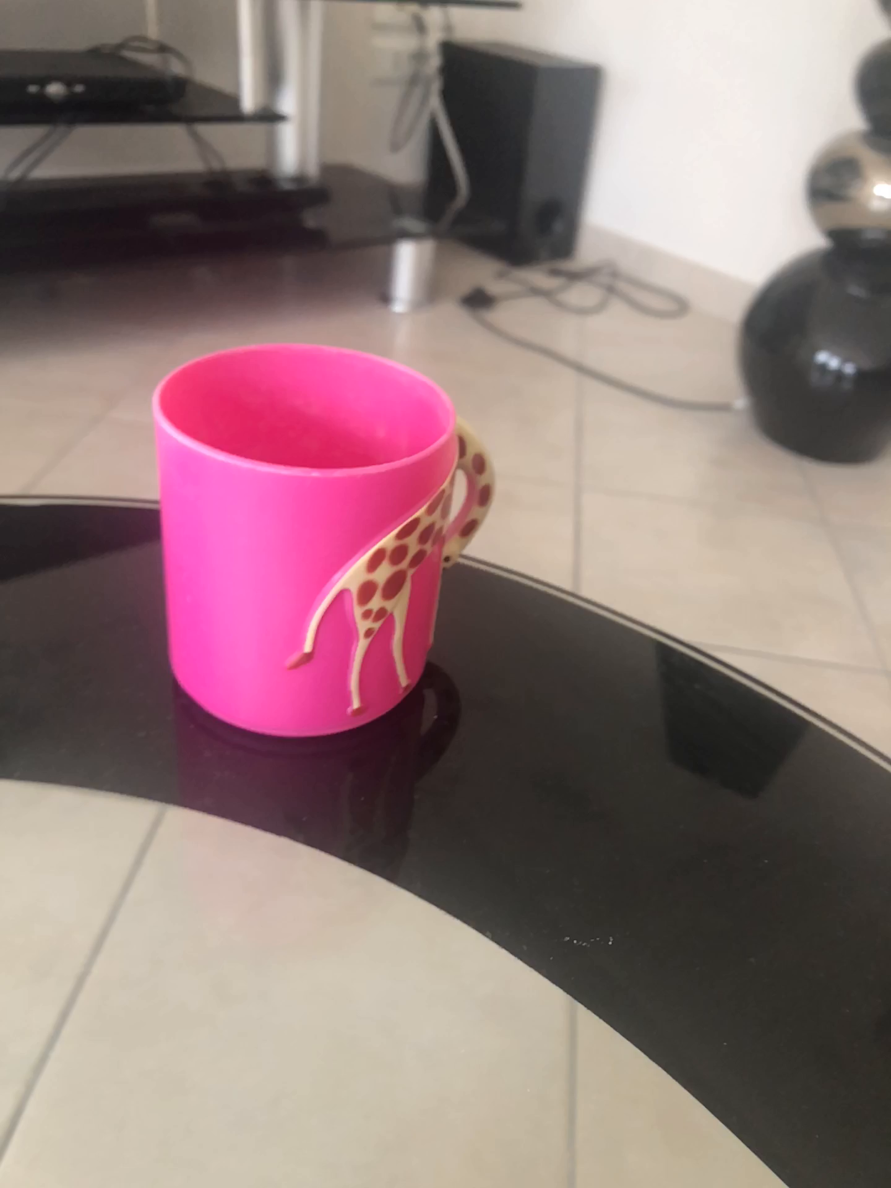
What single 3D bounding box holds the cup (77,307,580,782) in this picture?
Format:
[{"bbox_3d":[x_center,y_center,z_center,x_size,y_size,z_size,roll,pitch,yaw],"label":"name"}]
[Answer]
[{"bbox_3d":[-0.027,-0.019,0.246,0.070,0.070,0.091,31,41,32],"label":"cup"}]
